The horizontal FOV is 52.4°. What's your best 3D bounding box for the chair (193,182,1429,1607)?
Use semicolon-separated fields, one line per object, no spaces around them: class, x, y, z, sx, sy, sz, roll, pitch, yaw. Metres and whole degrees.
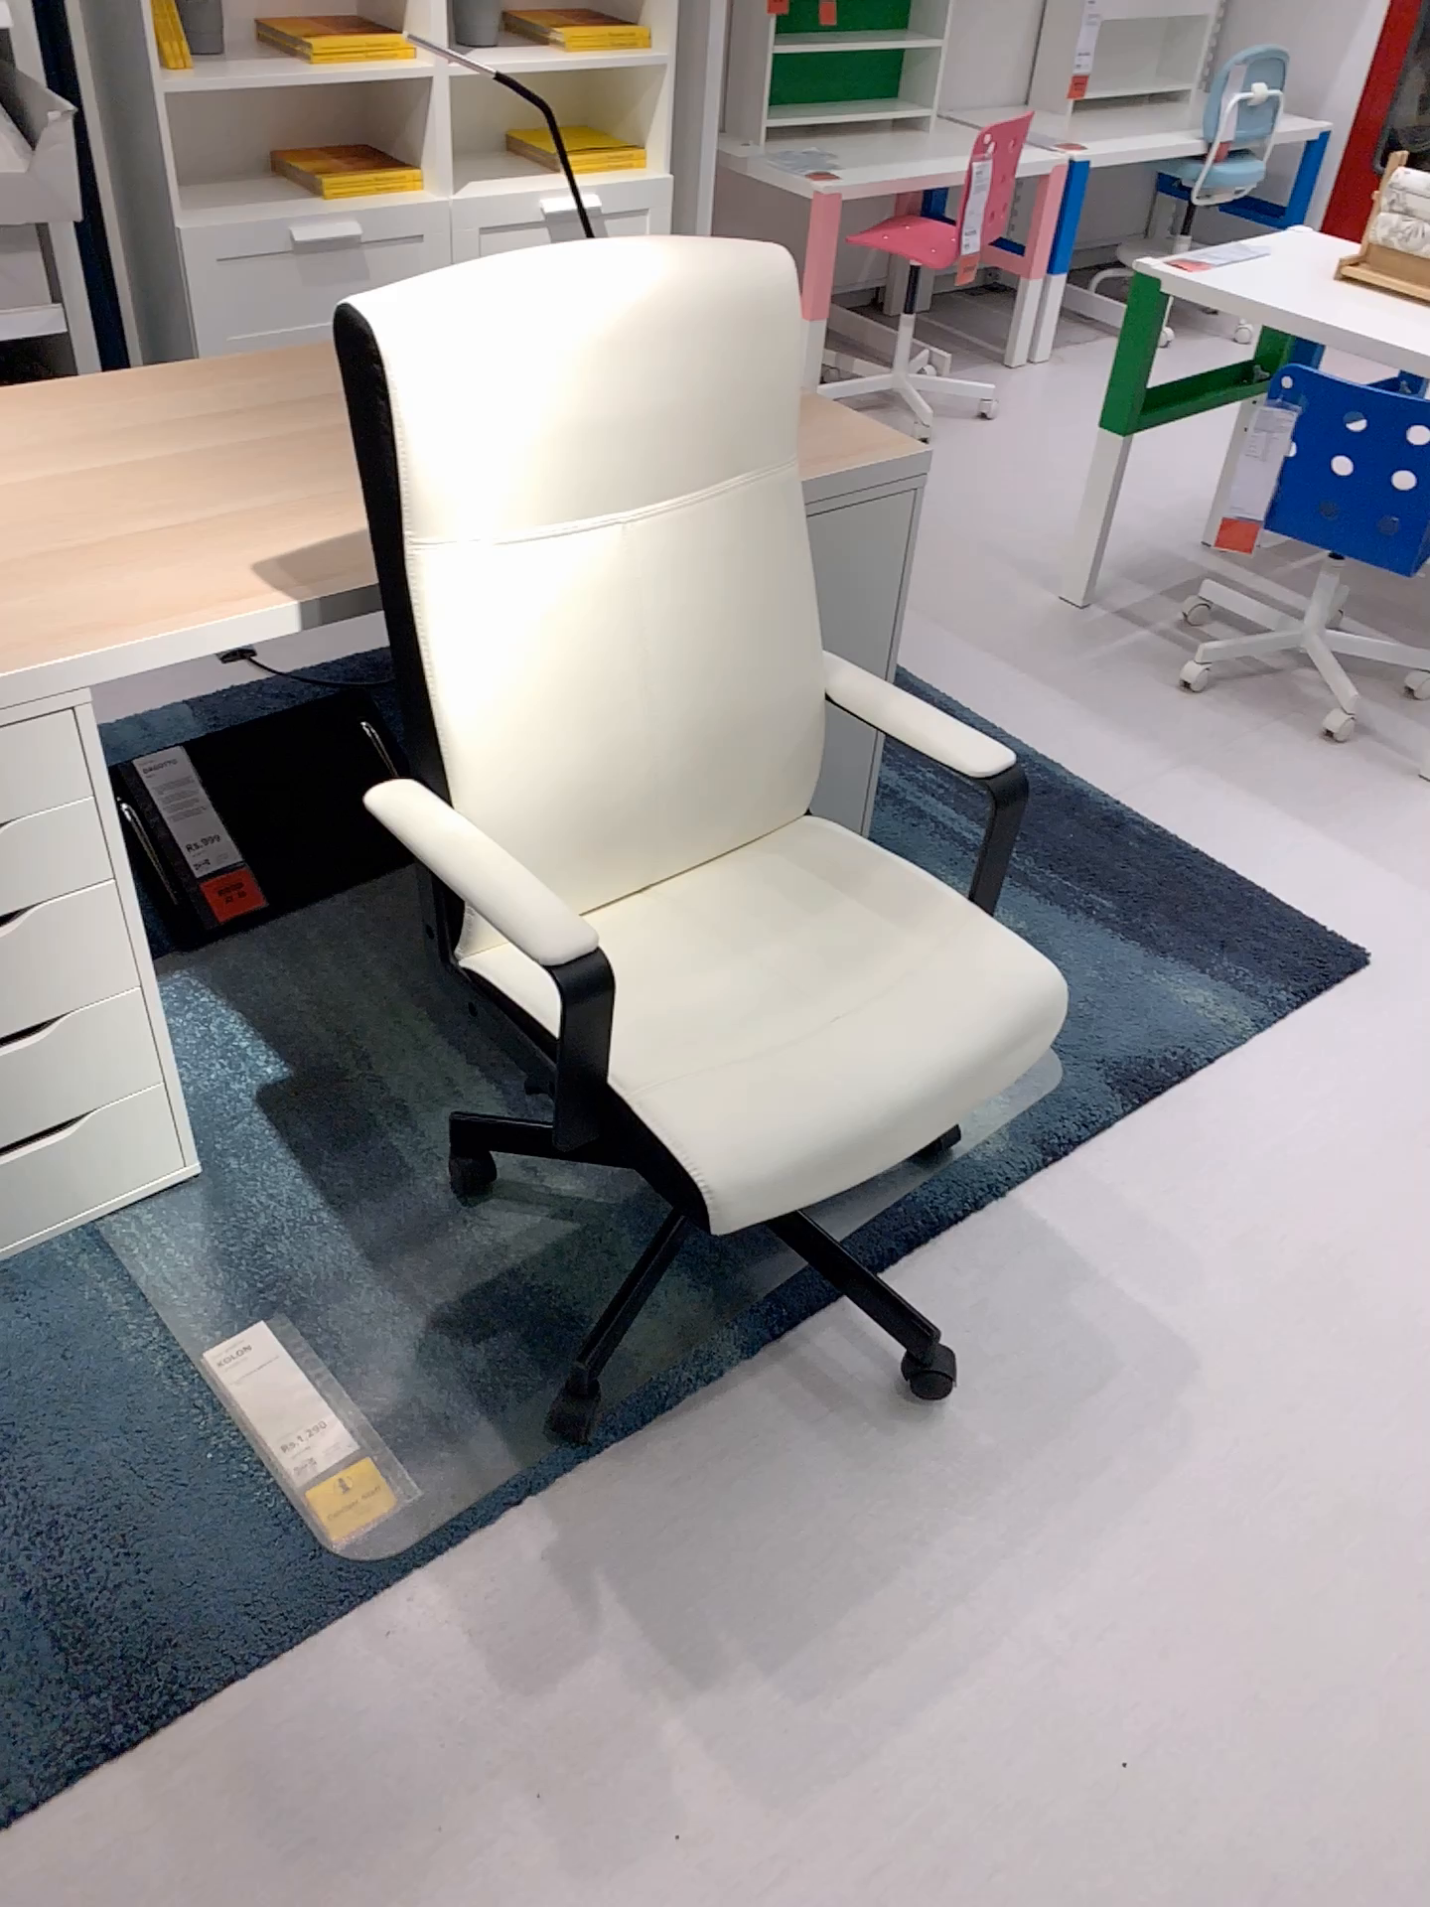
chair;0.059;-0.093;1.375;0.691;0.956;0.702;-24;48;-31
